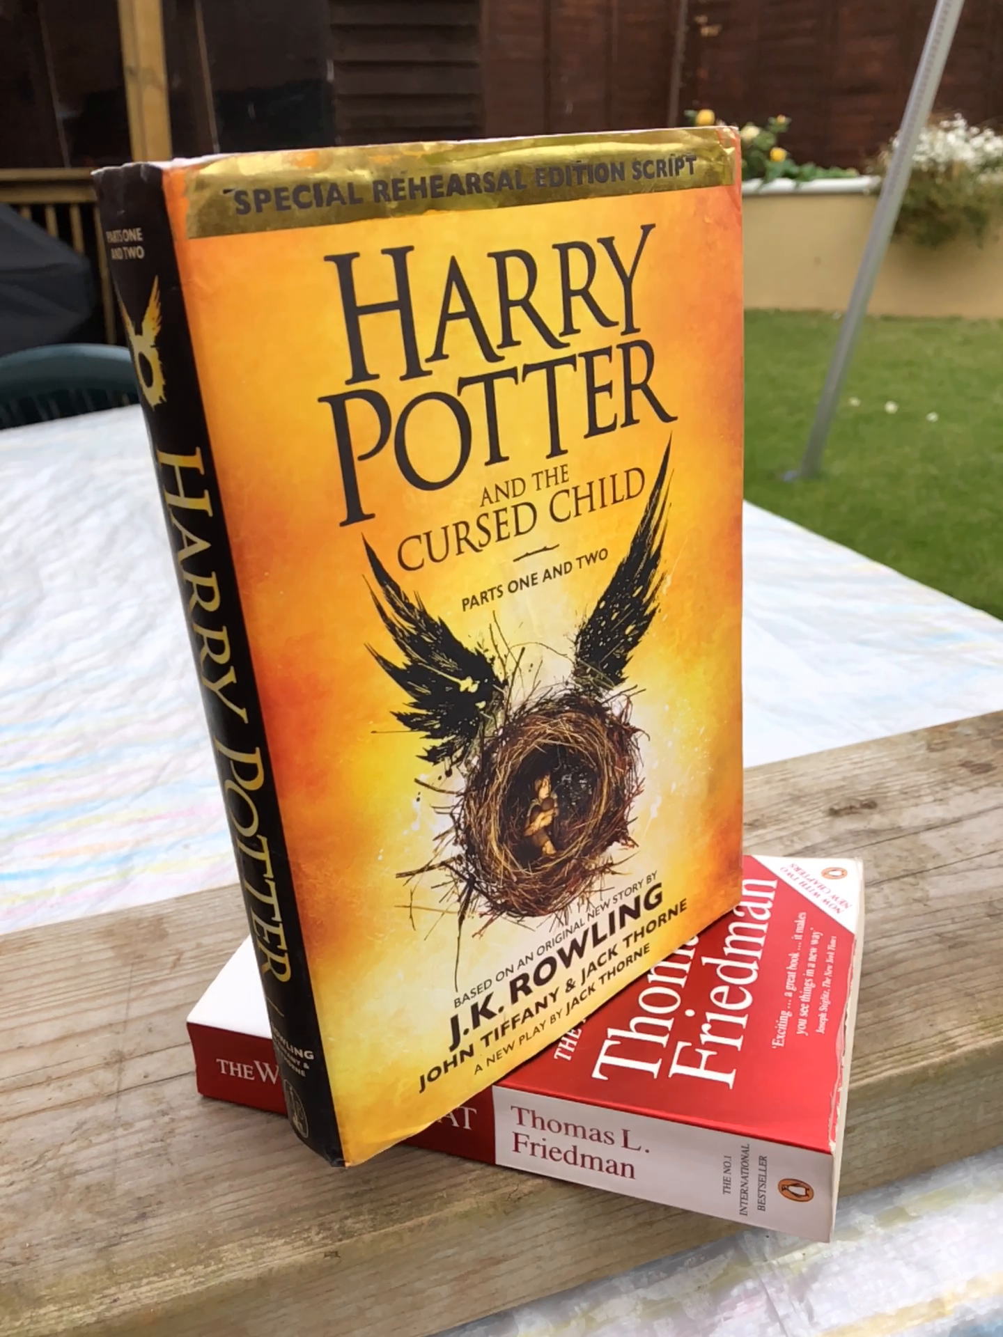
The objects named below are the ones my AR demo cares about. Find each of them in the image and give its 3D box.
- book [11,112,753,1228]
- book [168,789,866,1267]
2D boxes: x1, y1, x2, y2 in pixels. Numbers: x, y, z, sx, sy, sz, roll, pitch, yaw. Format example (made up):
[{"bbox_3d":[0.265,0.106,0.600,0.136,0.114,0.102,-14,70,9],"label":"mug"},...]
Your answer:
[{"bbox_3d":[-0.006,-0.008,0.288,0.171,0.239,0.040,-20,24,-35],"label":"book"},{"bbox_3d":[0.014,0.100,0.362,0.190,0.040,0.131,5,25,20],"label":"book"}]
